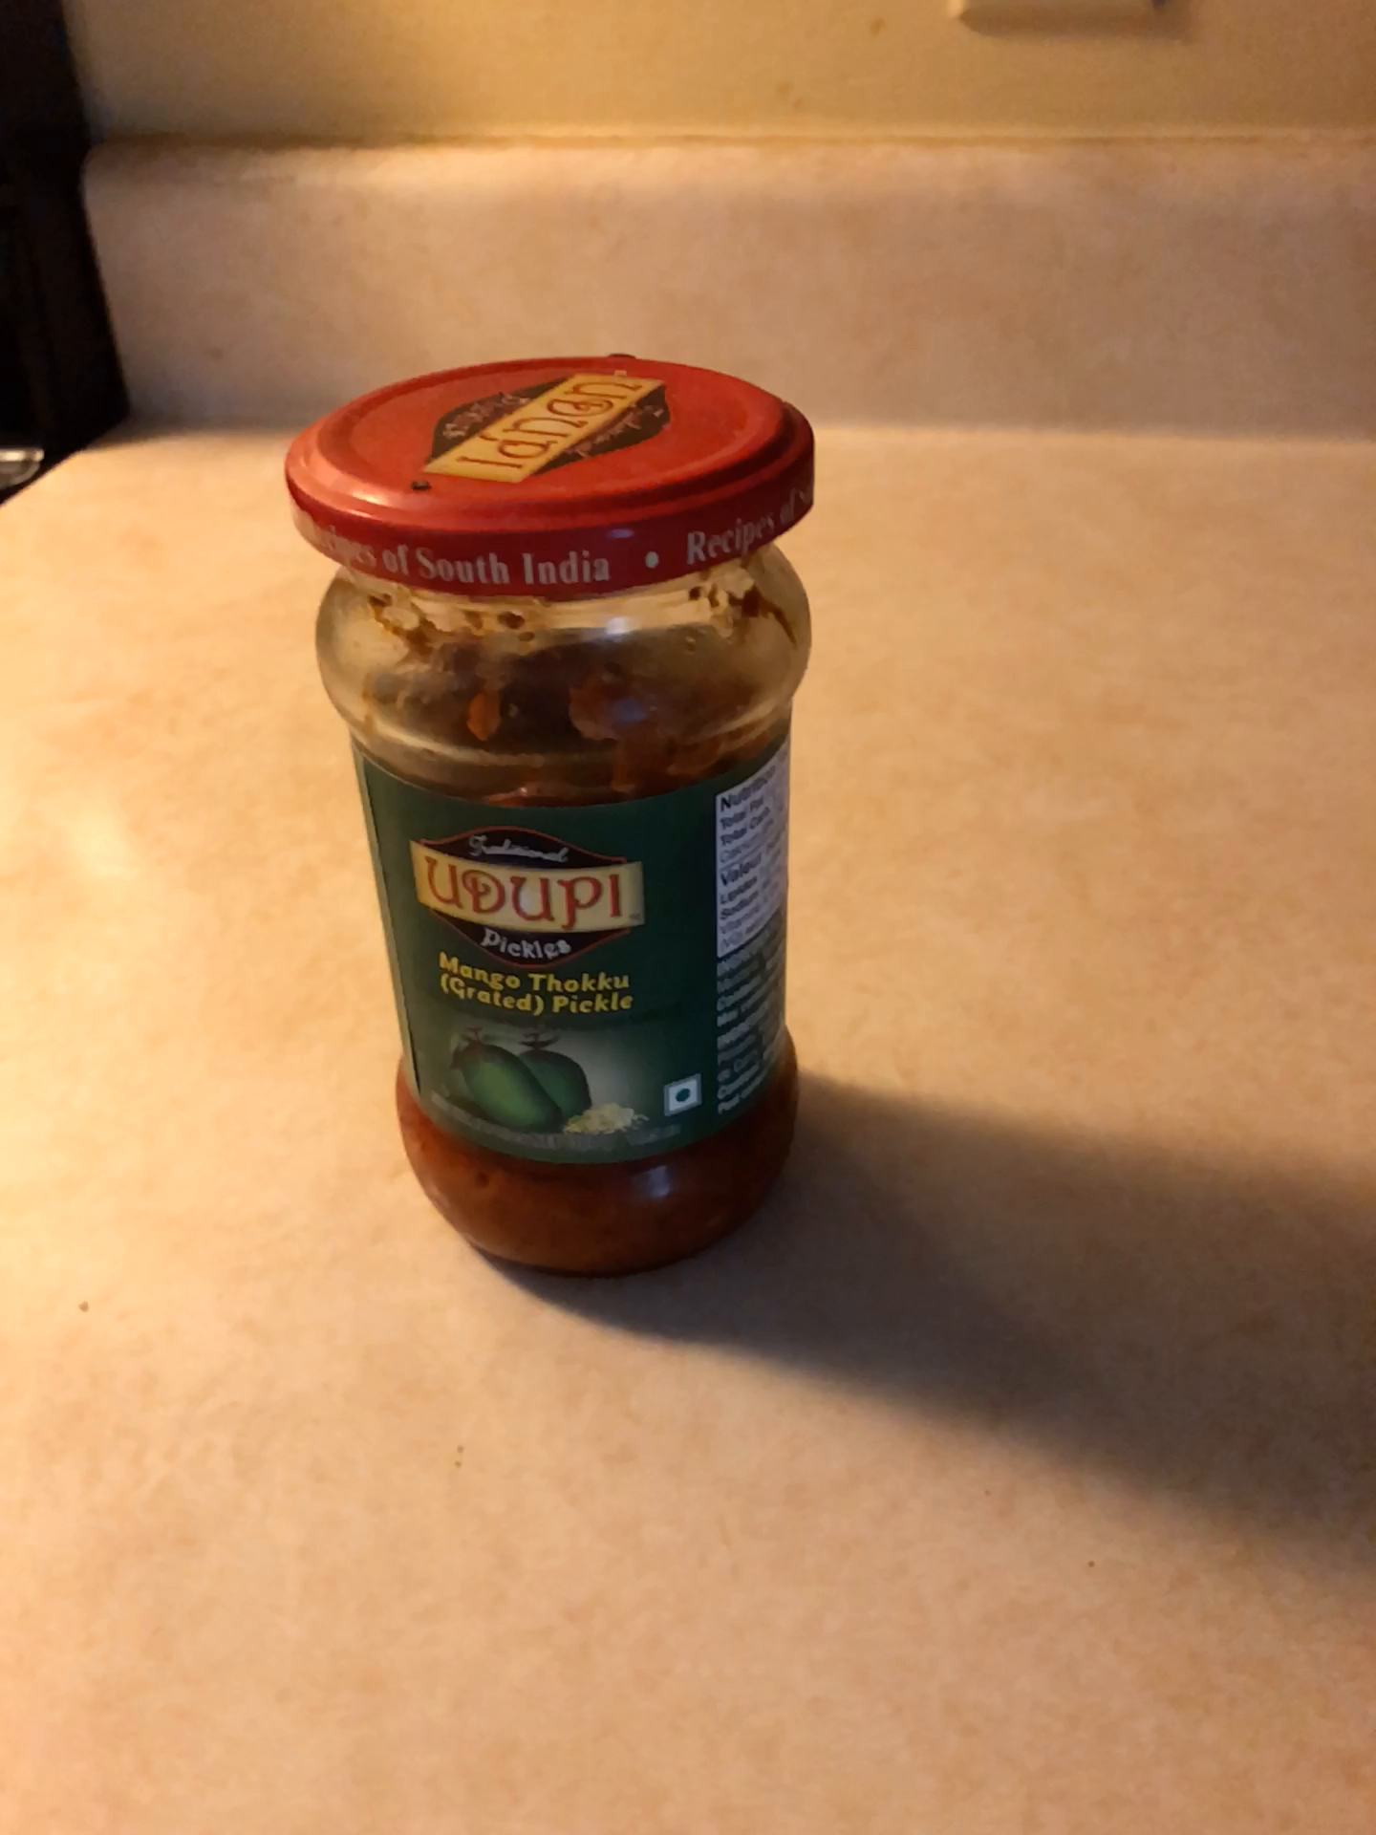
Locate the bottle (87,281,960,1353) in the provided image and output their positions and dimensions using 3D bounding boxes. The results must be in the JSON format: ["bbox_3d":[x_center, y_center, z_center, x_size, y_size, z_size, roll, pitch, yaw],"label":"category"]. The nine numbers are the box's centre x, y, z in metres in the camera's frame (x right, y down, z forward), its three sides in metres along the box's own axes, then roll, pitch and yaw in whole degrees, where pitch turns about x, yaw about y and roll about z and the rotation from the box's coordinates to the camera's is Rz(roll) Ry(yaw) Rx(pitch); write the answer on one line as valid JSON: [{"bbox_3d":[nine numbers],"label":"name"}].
[{"bbox_3d":[-0.014,-0.018,0.224,0.080,0.120,0.080,-1,34,1],"label":"bottle"}]
